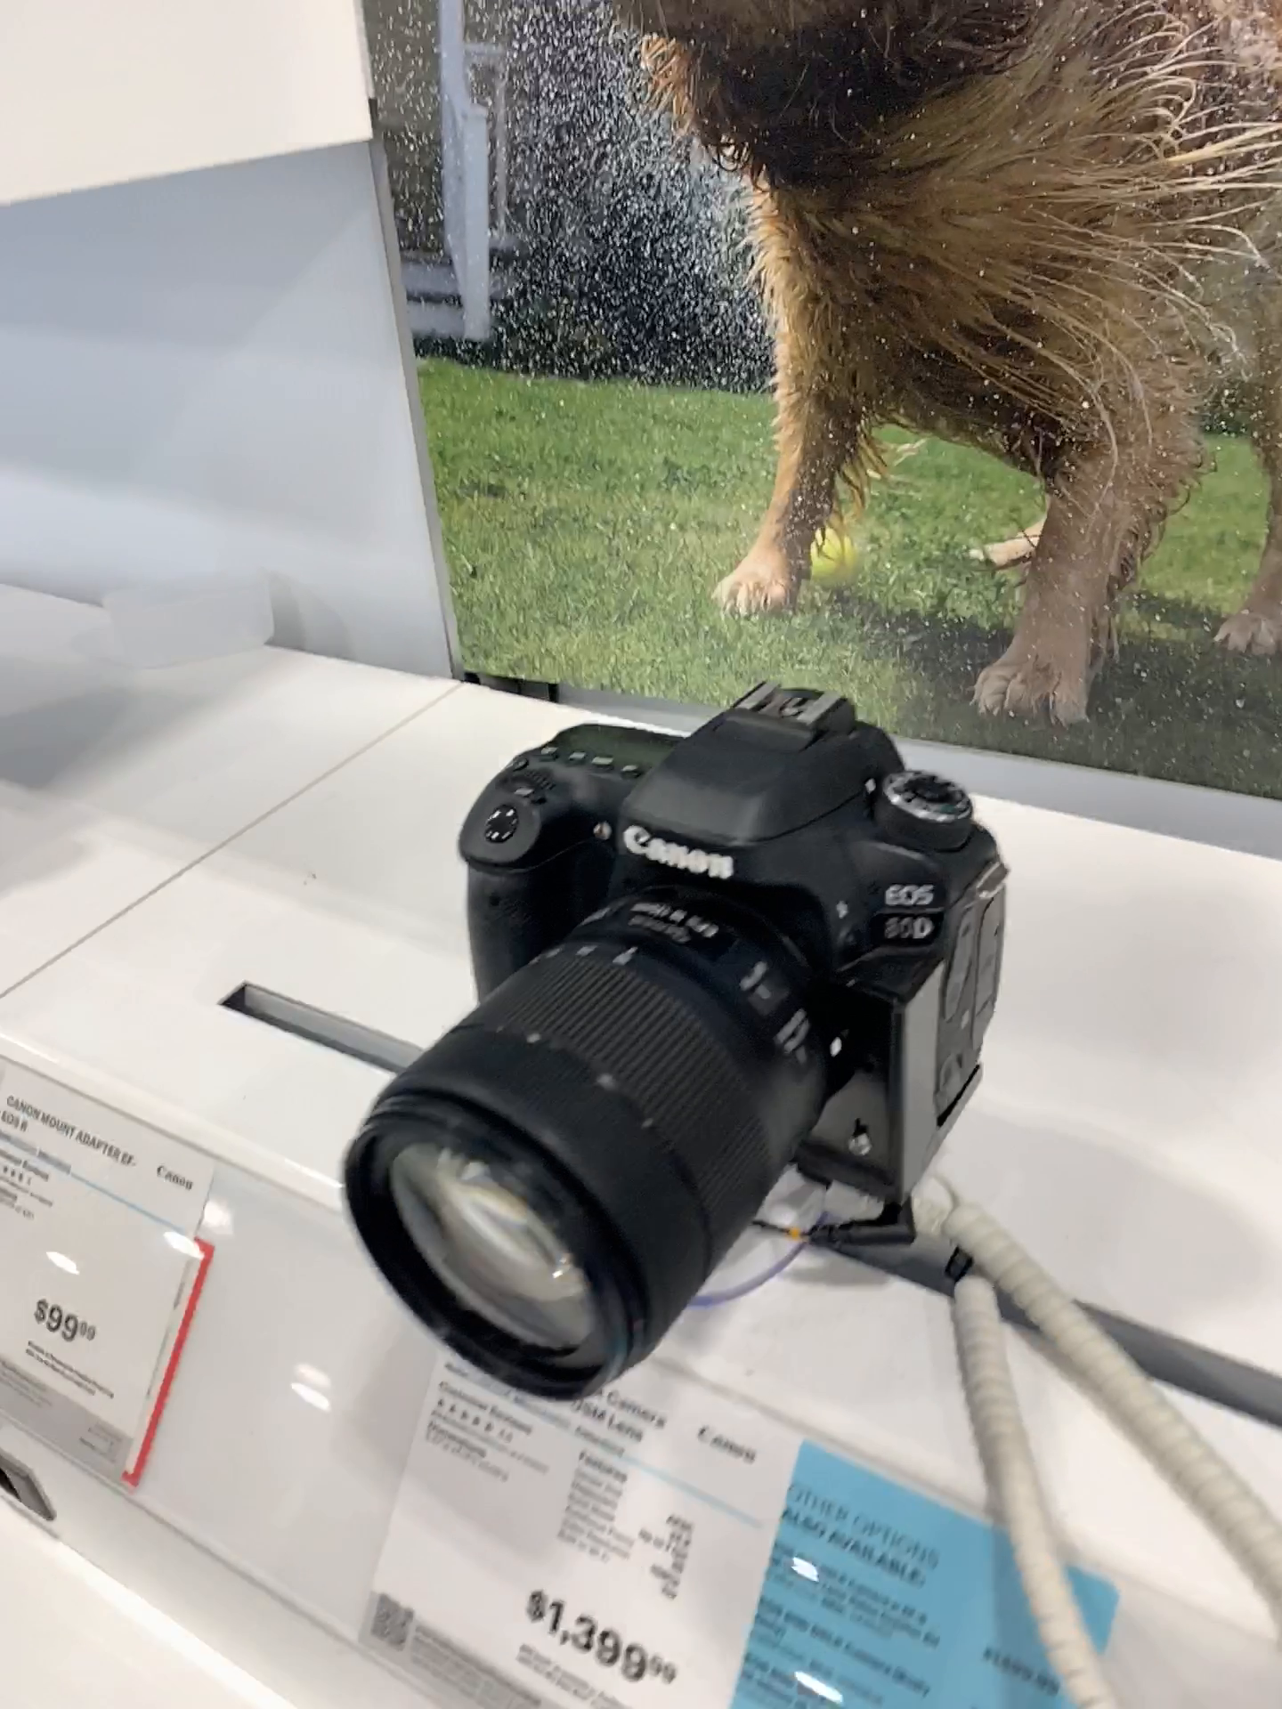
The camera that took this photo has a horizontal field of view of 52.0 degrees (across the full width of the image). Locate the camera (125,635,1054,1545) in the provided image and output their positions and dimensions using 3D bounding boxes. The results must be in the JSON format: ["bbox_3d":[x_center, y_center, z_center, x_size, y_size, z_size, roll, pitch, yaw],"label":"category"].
[{"bbox_3d":[0.001,0.035,0.314,0.140,0.099,0.161,14,38,28],"label":"camera"}]
